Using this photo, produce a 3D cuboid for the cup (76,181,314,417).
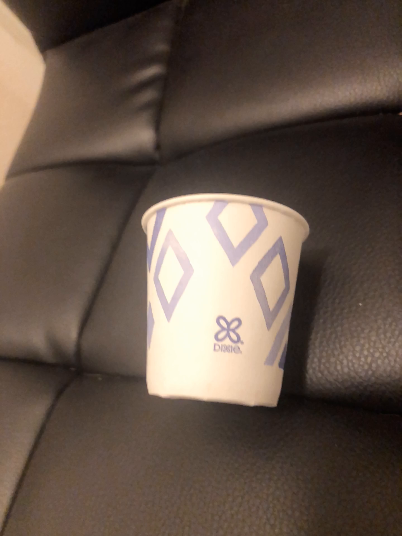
[{"bbox_3d":[0.001,0.013,0.145,0.052,0.049,0.058,-4,73,33],"label":"cup"}]
